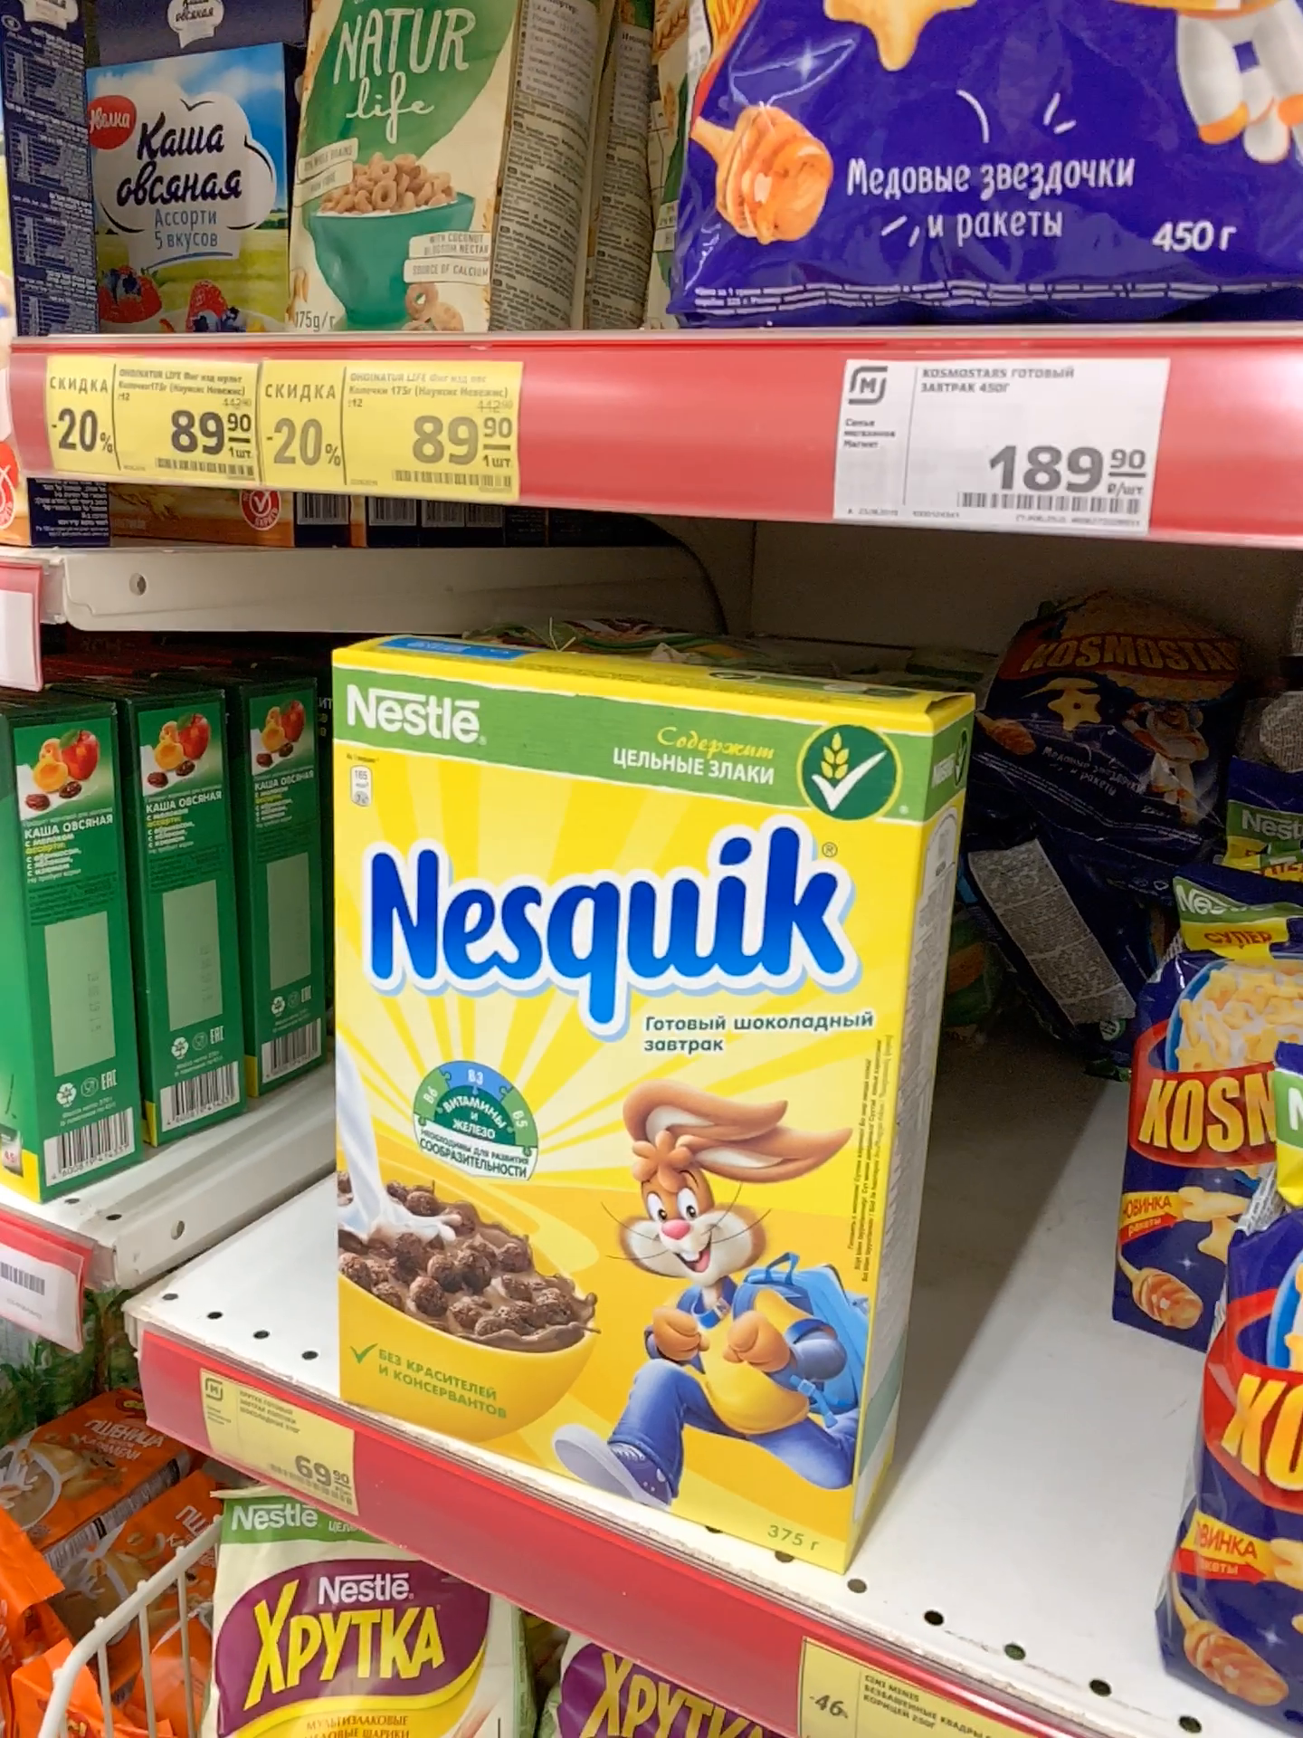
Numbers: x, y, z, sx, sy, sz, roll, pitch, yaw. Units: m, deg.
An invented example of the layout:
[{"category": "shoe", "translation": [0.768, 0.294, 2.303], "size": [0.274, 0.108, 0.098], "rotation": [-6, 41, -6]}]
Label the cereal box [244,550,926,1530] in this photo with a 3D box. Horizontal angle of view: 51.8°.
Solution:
[{"category": "cereal box", "translation": [-0.027, 0.044, 0.422], "size": [0.190, 0.268, 0.060], "rotation": [9, 17, 22]}]
